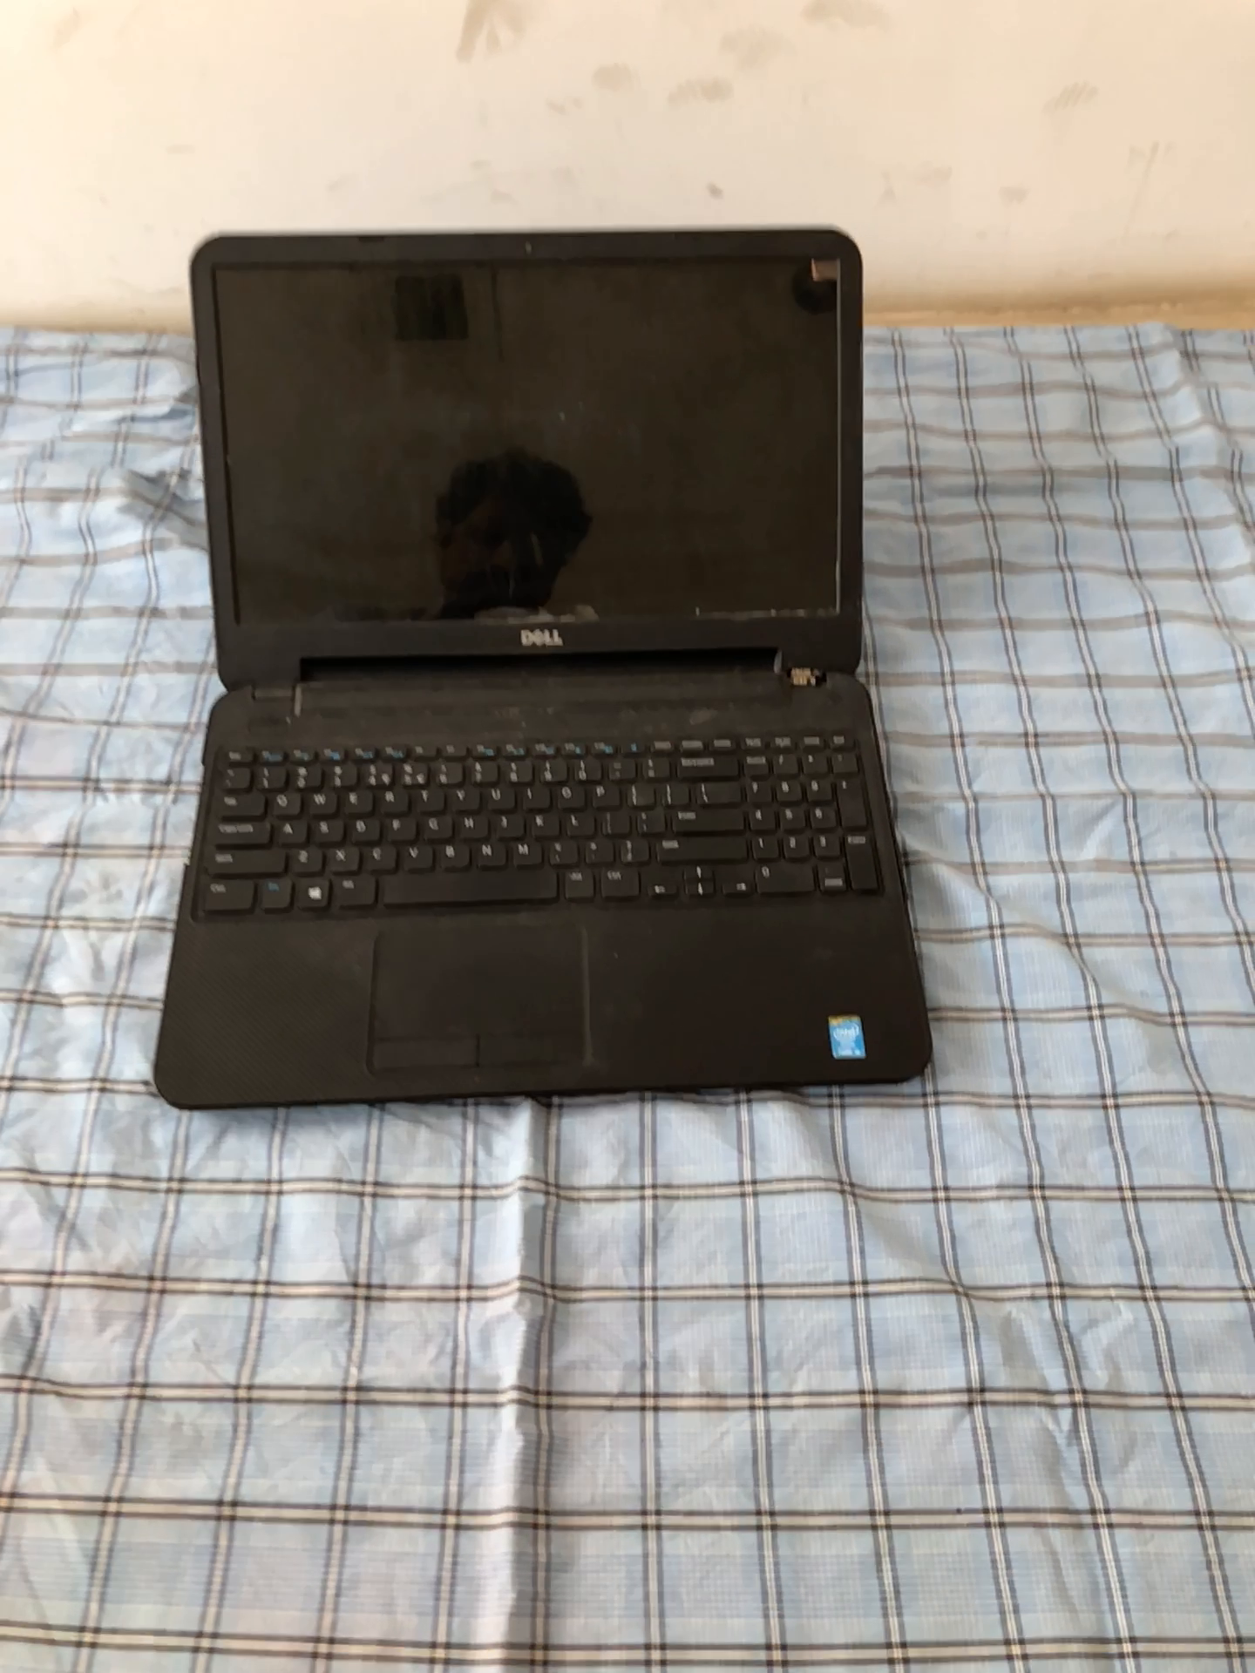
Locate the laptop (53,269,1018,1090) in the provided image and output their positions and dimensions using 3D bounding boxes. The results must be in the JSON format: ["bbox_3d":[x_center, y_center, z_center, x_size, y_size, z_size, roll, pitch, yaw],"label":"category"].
[{"bbox_3d":[-0.042,-0.098,0.700,0.355,0.163,0.415,-1,53,-3],"label":"laptop"}]
